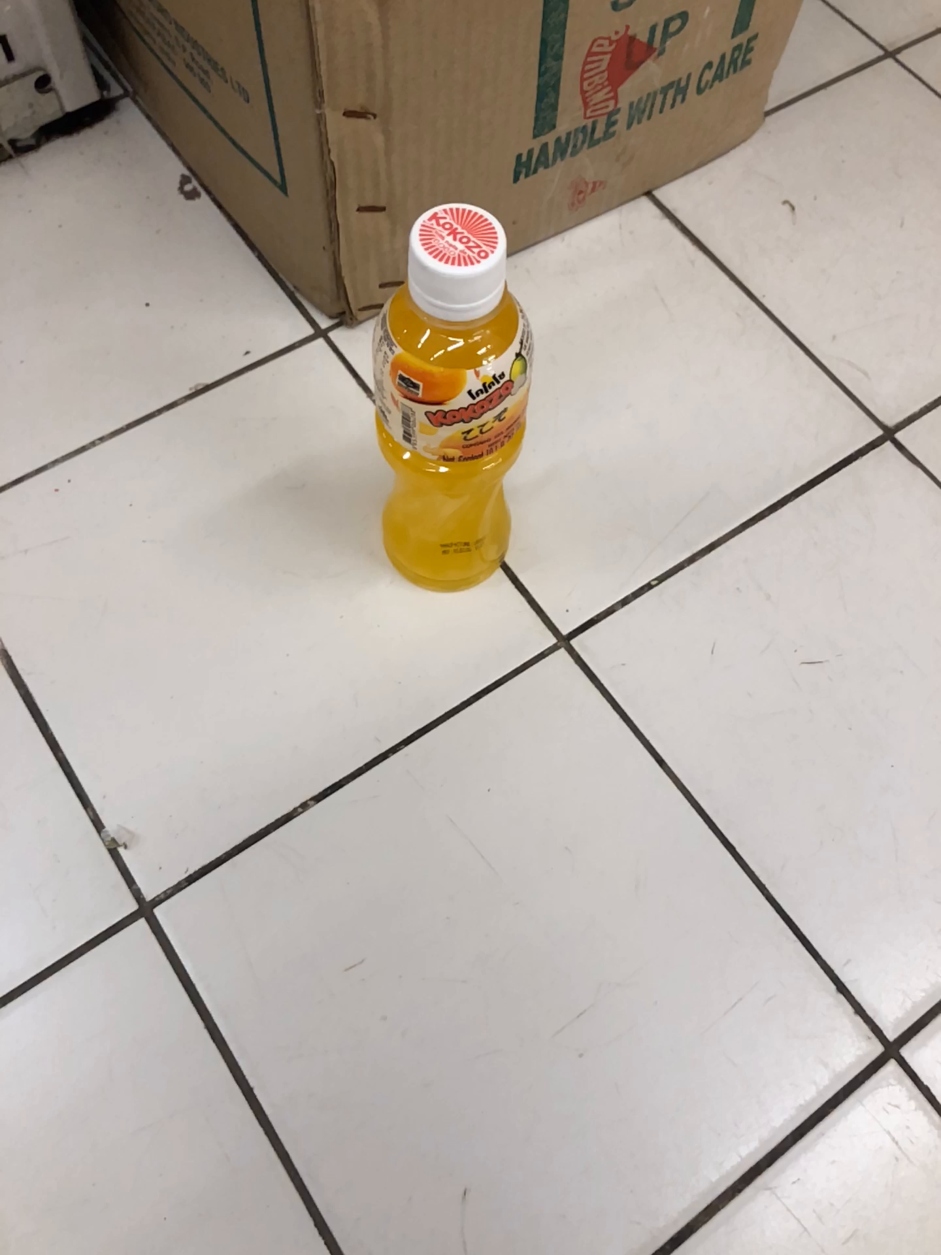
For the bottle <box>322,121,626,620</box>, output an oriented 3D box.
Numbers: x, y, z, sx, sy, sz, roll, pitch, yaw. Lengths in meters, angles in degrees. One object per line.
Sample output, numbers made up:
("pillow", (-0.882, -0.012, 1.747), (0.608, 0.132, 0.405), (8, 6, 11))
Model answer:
("bottle", (-0.004, -0.083, 0.394), (0.070, 0.179, 0.070), (1, 64, -3))
